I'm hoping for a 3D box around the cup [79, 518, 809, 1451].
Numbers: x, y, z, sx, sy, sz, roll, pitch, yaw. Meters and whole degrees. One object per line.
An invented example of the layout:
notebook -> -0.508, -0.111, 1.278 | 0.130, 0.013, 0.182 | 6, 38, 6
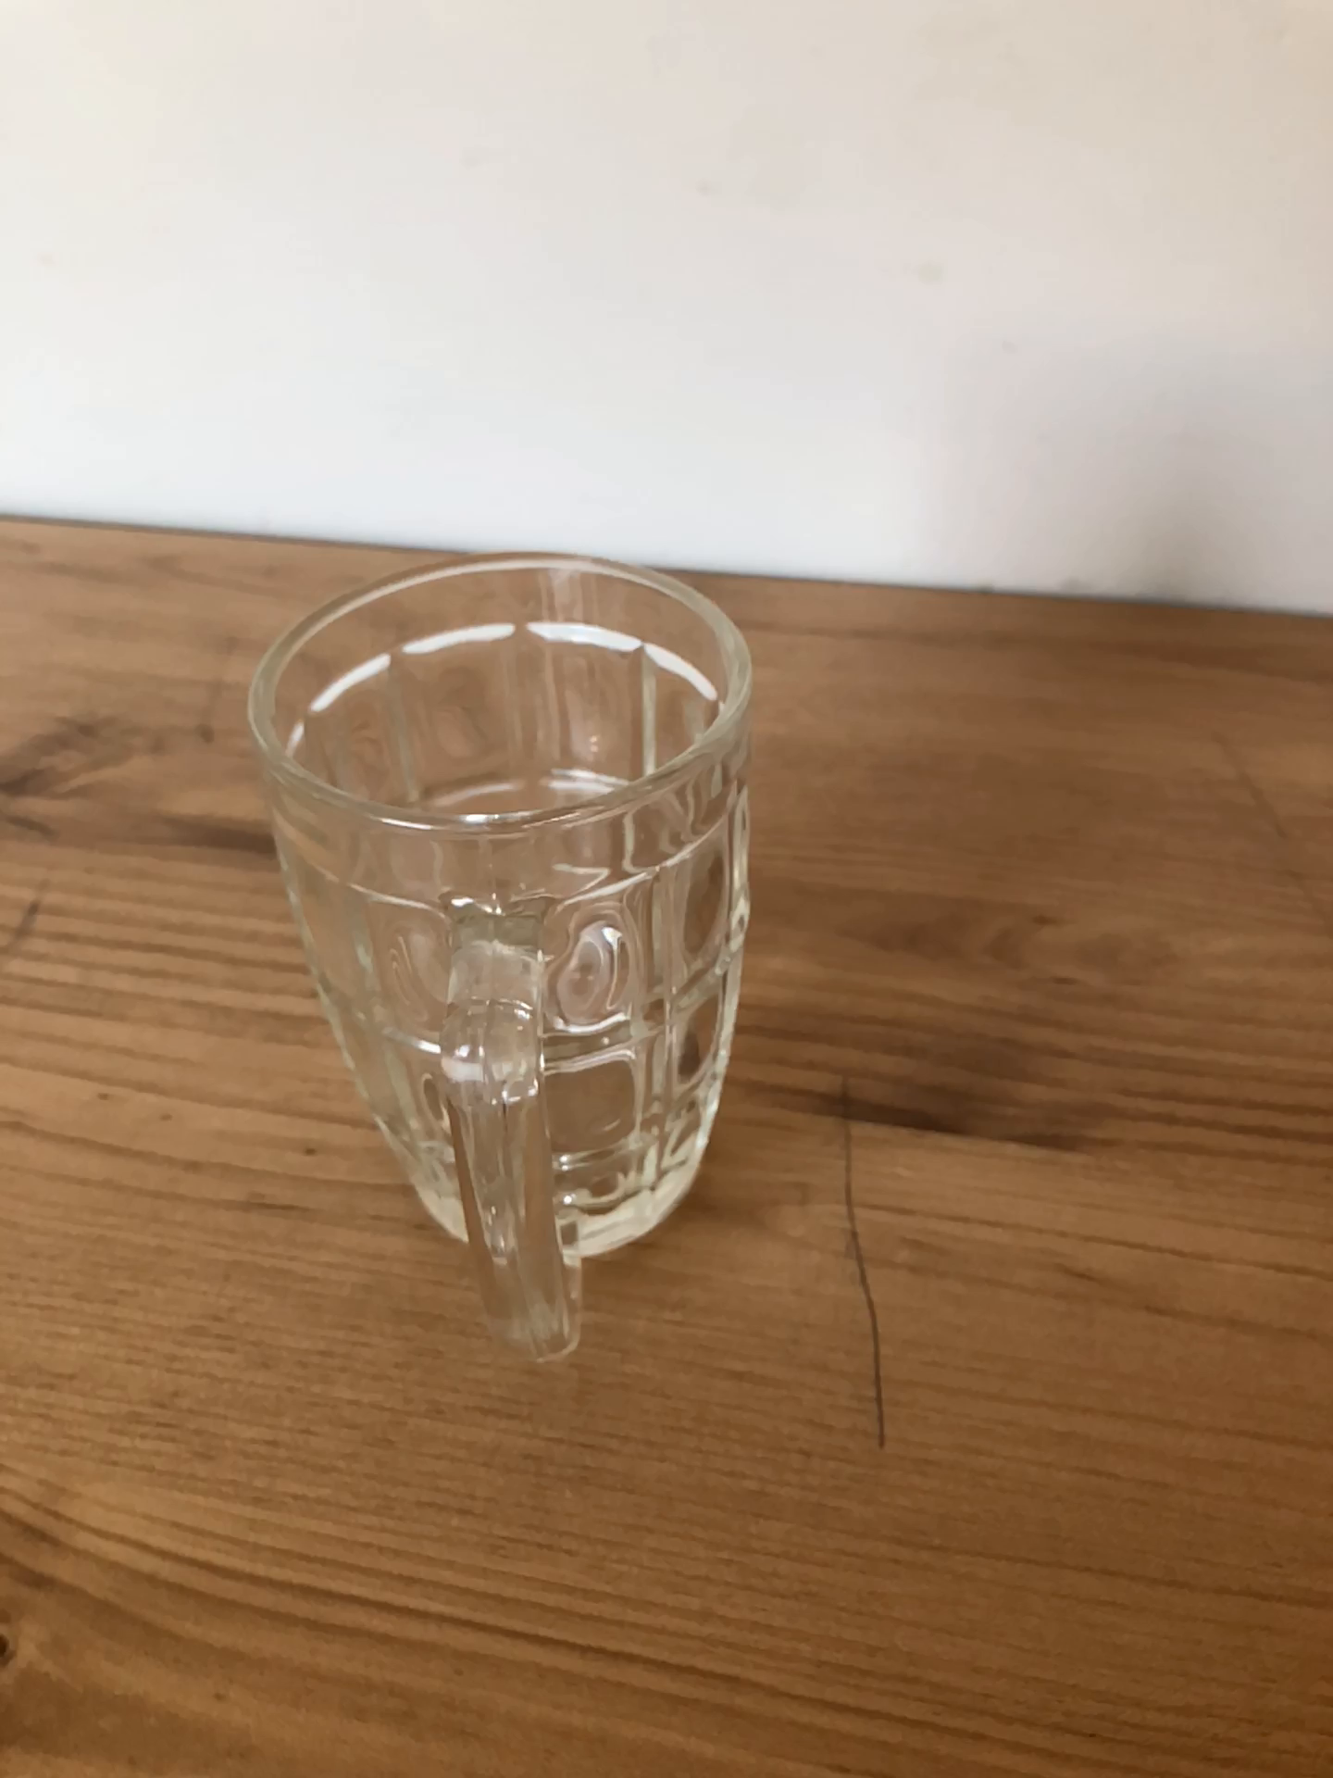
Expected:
cup -> -0.025, 0.012, 0.258 | 0.088, 0.102, 0.120 | -3, 39, 2
